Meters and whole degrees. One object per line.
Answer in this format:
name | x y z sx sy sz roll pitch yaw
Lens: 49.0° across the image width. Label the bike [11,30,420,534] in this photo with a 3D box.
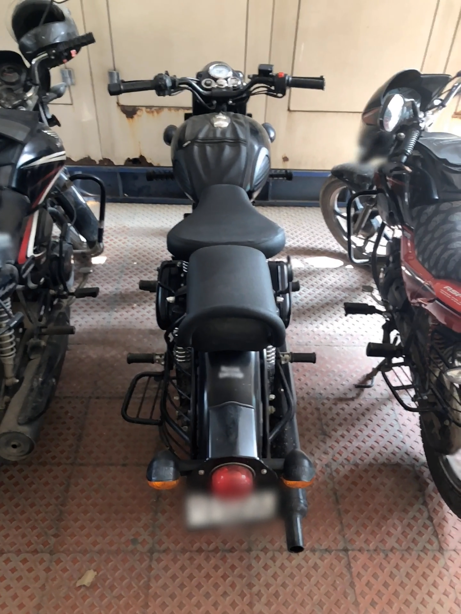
bike | -0.112 -0.254 1.809 0.709 0.919 1.696 -2 41 -5
